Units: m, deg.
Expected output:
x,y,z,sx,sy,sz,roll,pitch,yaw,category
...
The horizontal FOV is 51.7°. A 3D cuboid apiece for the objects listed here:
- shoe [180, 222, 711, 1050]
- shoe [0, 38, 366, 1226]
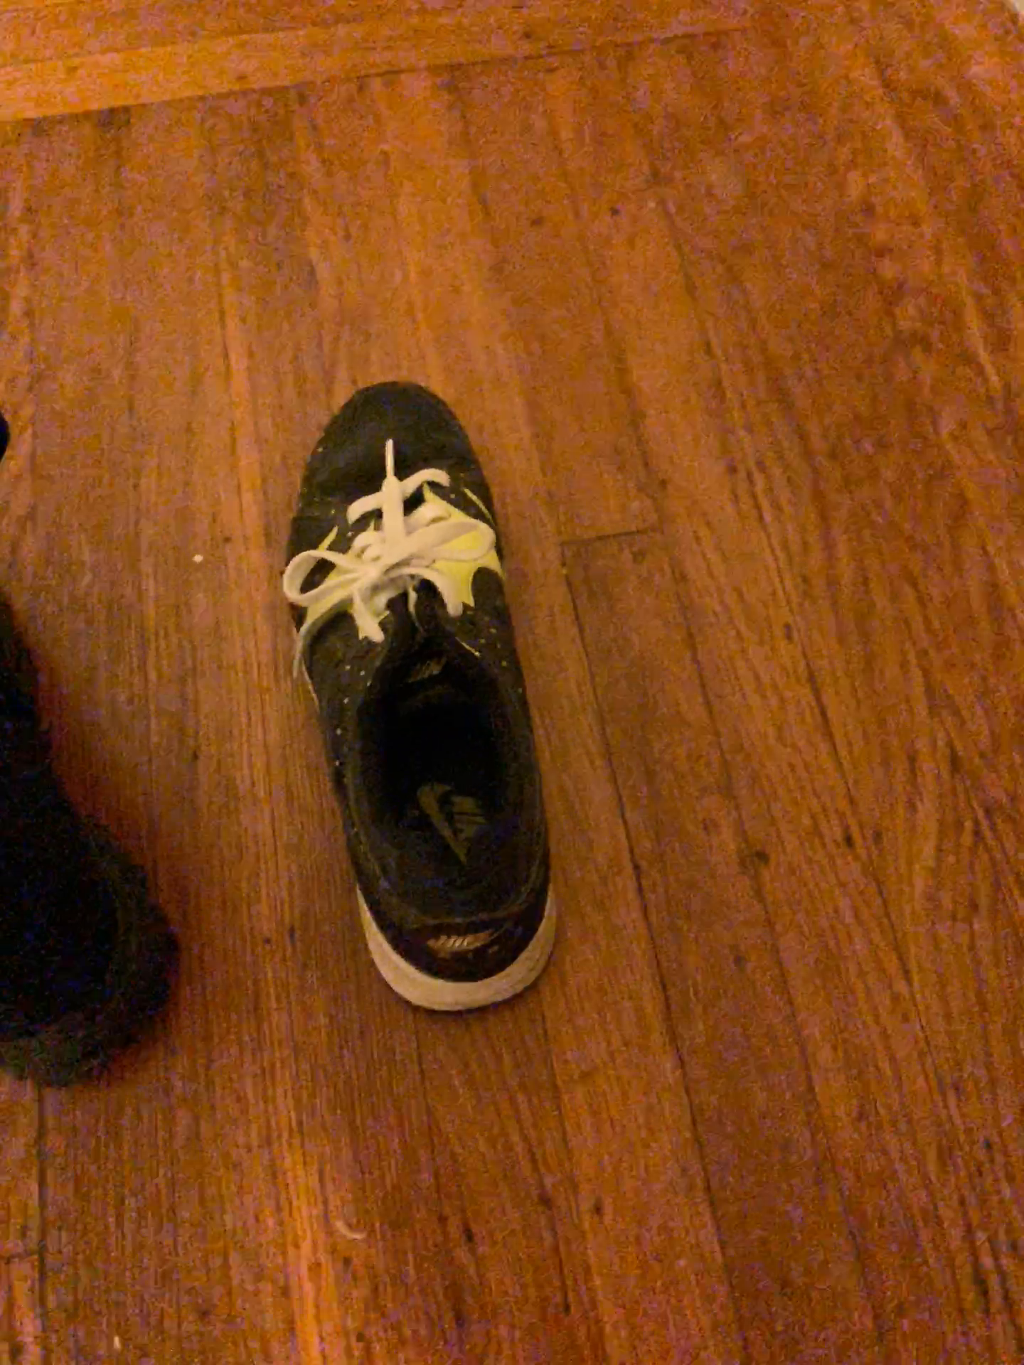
x,y,z,sx,sy,sz,roll,pitch,yaw,category
-0.036,-0.024,0.414,0.120,0.100,0.291,-14,68,-6,shoe
-0.218,-0.005,0.390,0.160,0.240,0.311,-33,71,-13,shoe
